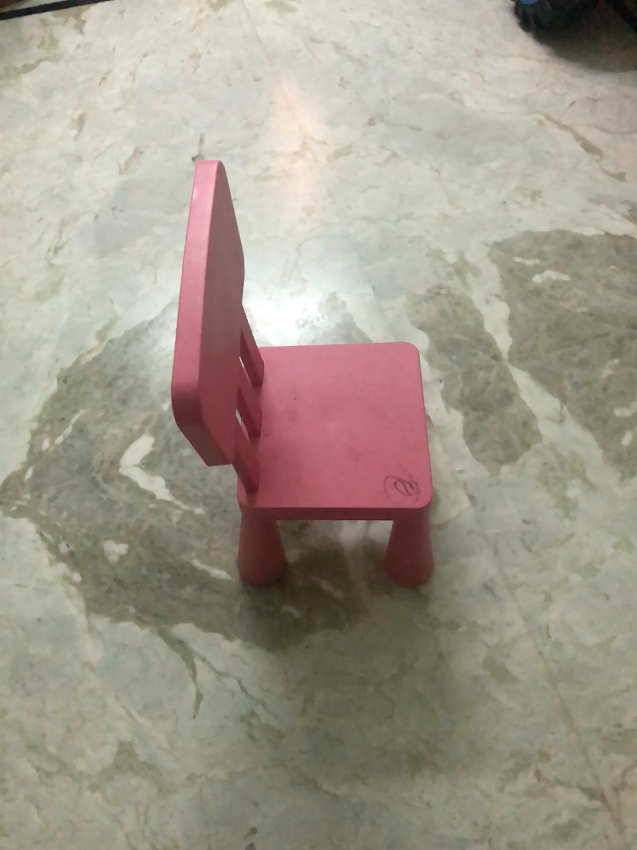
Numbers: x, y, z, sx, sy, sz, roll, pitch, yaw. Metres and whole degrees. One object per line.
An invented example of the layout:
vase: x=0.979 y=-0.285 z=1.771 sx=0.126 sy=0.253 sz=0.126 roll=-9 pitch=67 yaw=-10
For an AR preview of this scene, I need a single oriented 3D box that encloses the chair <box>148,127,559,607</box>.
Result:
chair: x=0.030 y=-0.026 z=1.017 sx=0.380 sy=0.628 sz=0.402 roll=-2 pitch=60 yaw=0
